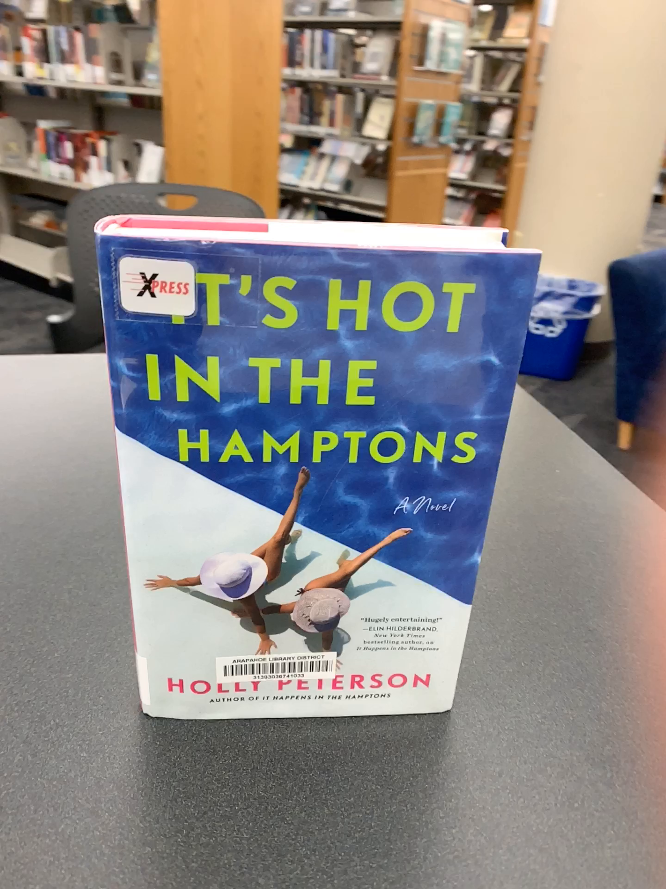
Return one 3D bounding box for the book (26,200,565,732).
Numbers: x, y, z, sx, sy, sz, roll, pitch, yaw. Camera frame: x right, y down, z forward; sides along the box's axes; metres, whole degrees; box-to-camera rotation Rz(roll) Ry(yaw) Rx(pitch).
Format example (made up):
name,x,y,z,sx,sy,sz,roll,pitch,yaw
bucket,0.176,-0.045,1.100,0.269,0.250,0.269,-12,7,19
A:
name,x,y,z,sx,sy,sz,roll,pitch,yaw
book,-0.018,0.021,0.289,0.170,0.219,0.050,1,28,-8
